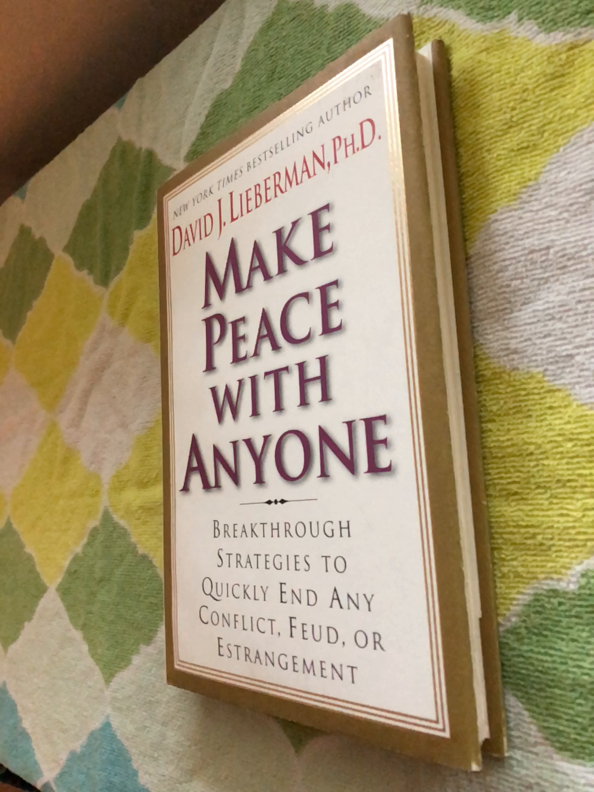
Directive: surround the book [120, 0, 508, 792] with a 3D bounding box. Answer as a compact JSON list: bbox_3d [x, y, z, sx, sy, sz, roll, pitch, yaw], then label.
[{"bbox_3d":[-0.011,0.002,0.228,0.146,0.030,0.204,-13,74,46],"label":"book"}]
